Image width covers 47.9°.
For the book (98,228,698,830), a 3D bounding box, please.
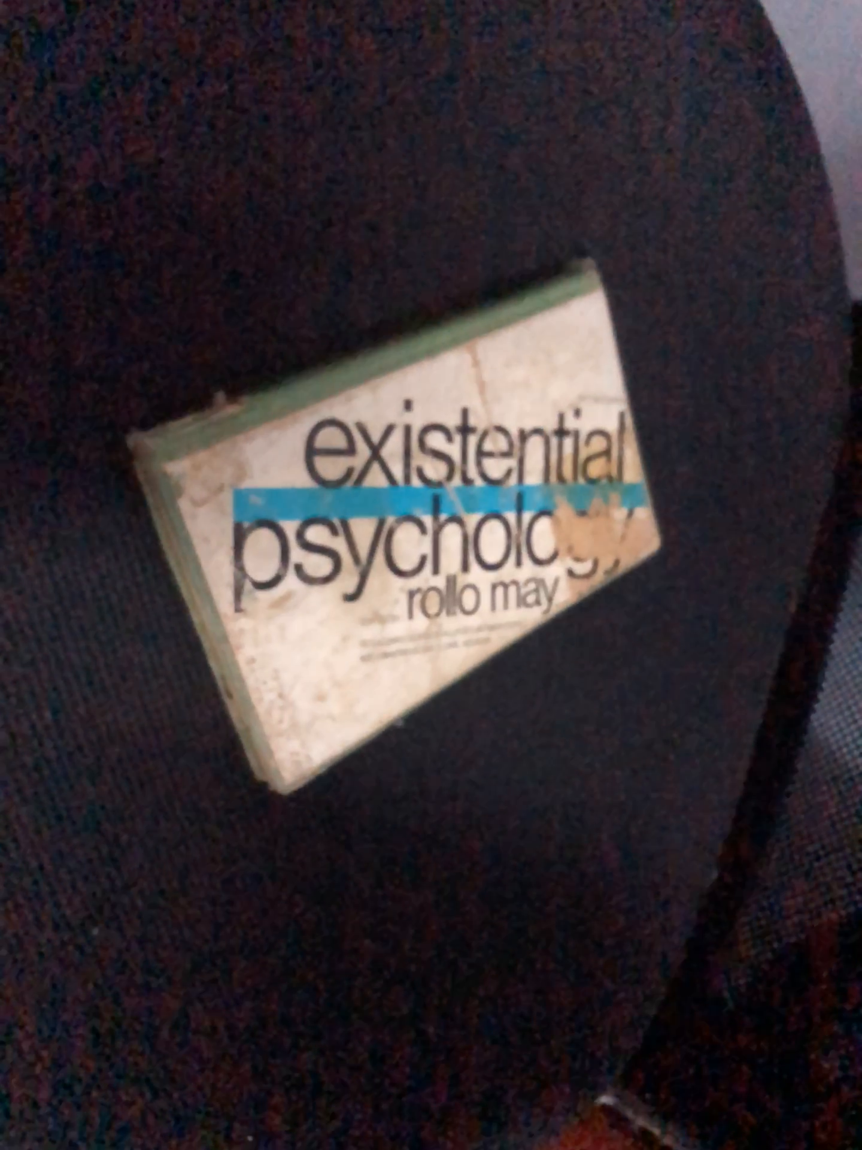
[{"bbox_3d":[0.010,-0.025,0.322,0.201,0.020,0.126,-30,115,-31],"label":"book"}]
